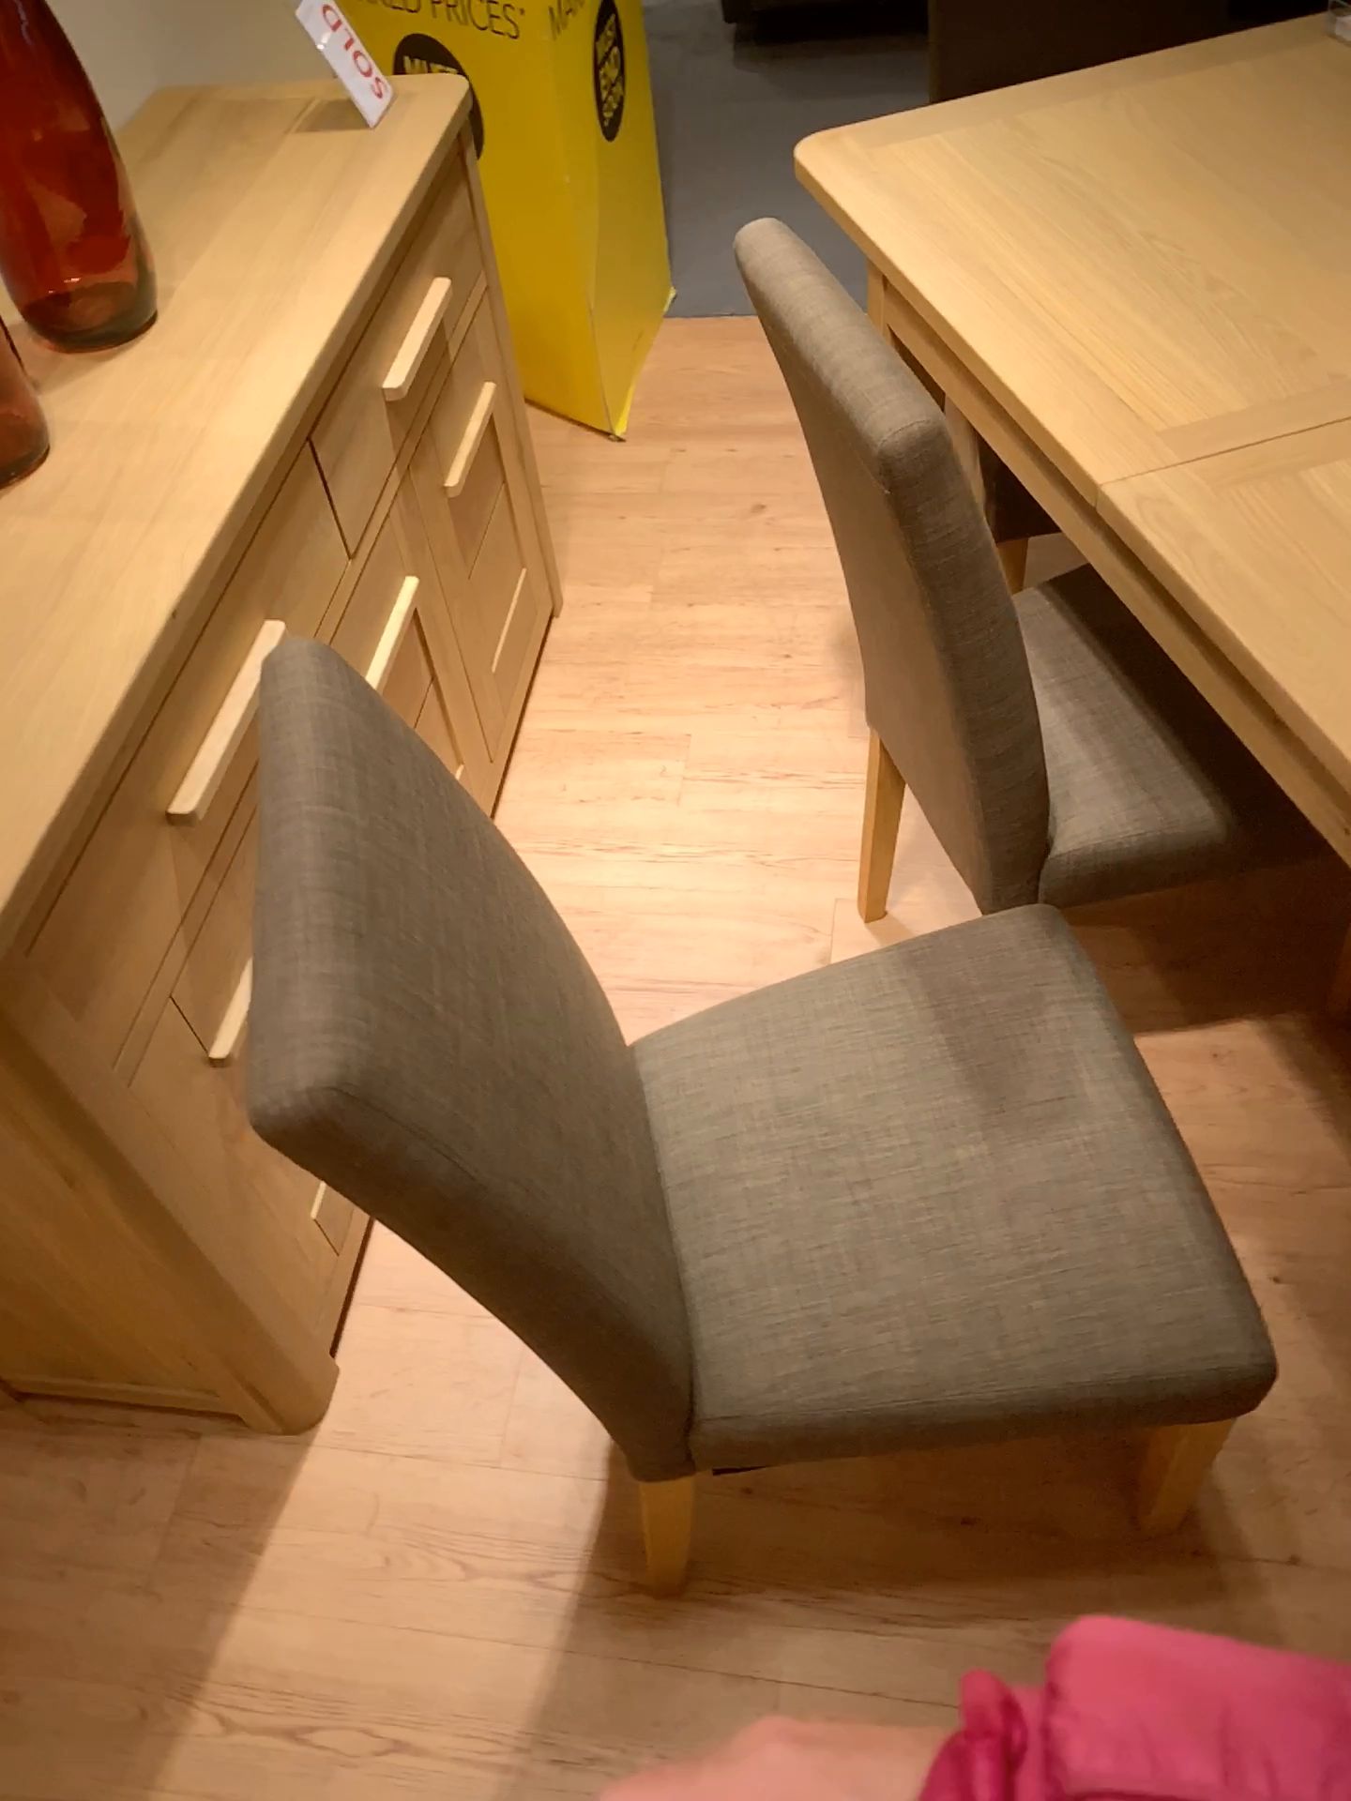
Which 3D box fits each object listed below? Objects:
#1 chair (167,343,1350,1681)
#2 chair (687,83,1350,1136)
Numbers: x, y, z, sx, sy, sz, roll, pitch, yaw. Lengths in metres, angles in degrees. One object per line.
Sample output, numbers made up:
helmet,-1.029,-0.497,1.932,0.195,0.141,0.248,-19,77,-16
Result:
chair,0.088,0.163,1.065,0.603,0.884,0.511,-12,49,-2
chair,0.354,-0.244,1.336,0.503,0.765,0.501,-15,50,-5
